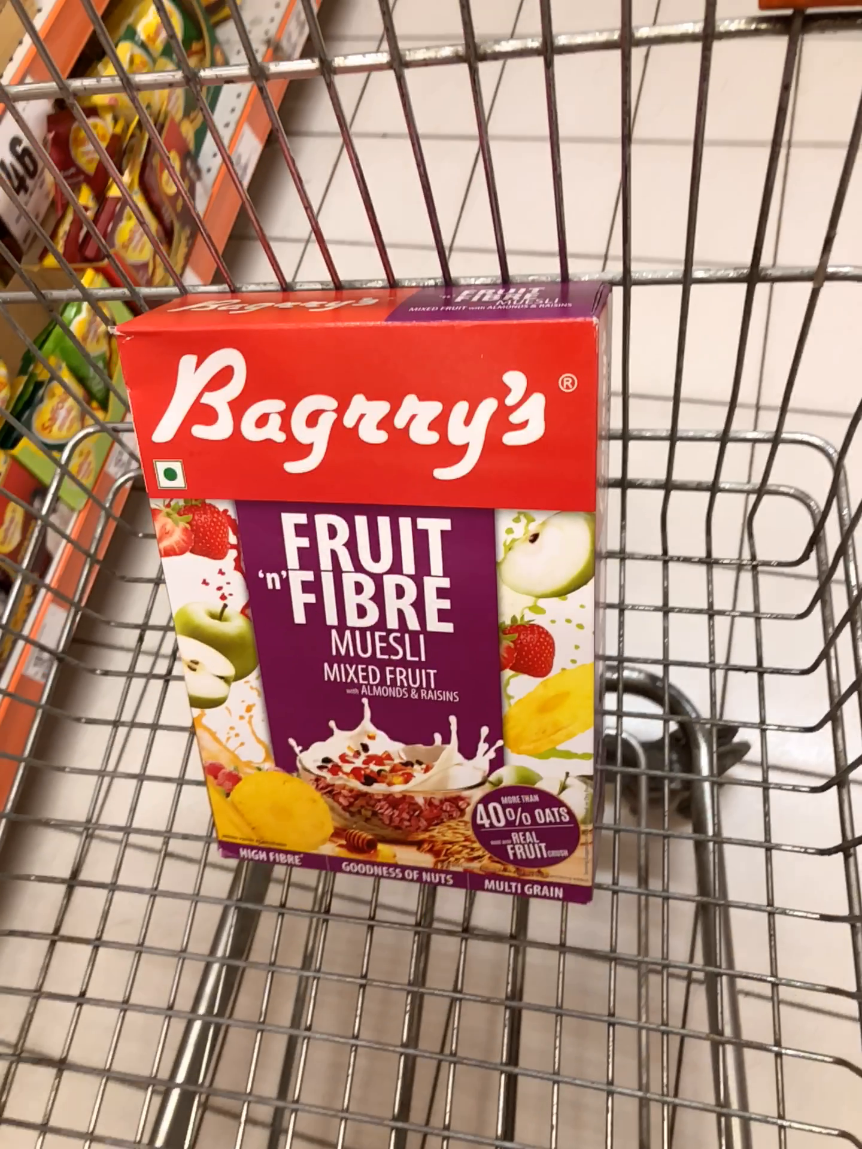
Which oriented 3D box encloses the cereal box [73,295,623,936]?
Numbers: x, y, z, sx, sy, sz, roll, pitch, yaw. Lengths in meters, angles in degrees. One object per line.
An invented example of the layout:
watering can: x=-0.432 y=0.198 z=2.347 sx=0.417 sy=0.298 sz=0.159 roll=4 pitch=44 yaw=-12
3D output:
cereal box: x=-0.022 y=0.018 z=0.402 sx=0.190 sy=0.249 sz=0.070 roll=3 pitch=25 yaw=13
